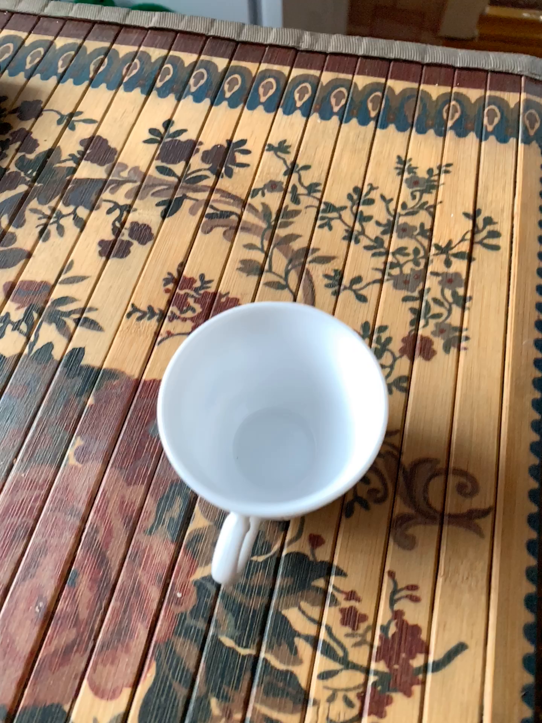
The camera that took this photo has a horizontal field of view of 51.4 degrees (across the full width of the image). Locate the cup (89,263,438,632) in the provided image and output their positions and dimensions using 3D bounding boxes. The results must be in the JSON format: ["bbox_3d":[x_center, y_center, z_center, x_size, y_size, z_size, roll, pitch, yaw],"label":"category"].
[{"bbox_3d":[0.002,0.023,0.163,0.067,0.039,0.081,16,64,9],"label":"cup"}]
